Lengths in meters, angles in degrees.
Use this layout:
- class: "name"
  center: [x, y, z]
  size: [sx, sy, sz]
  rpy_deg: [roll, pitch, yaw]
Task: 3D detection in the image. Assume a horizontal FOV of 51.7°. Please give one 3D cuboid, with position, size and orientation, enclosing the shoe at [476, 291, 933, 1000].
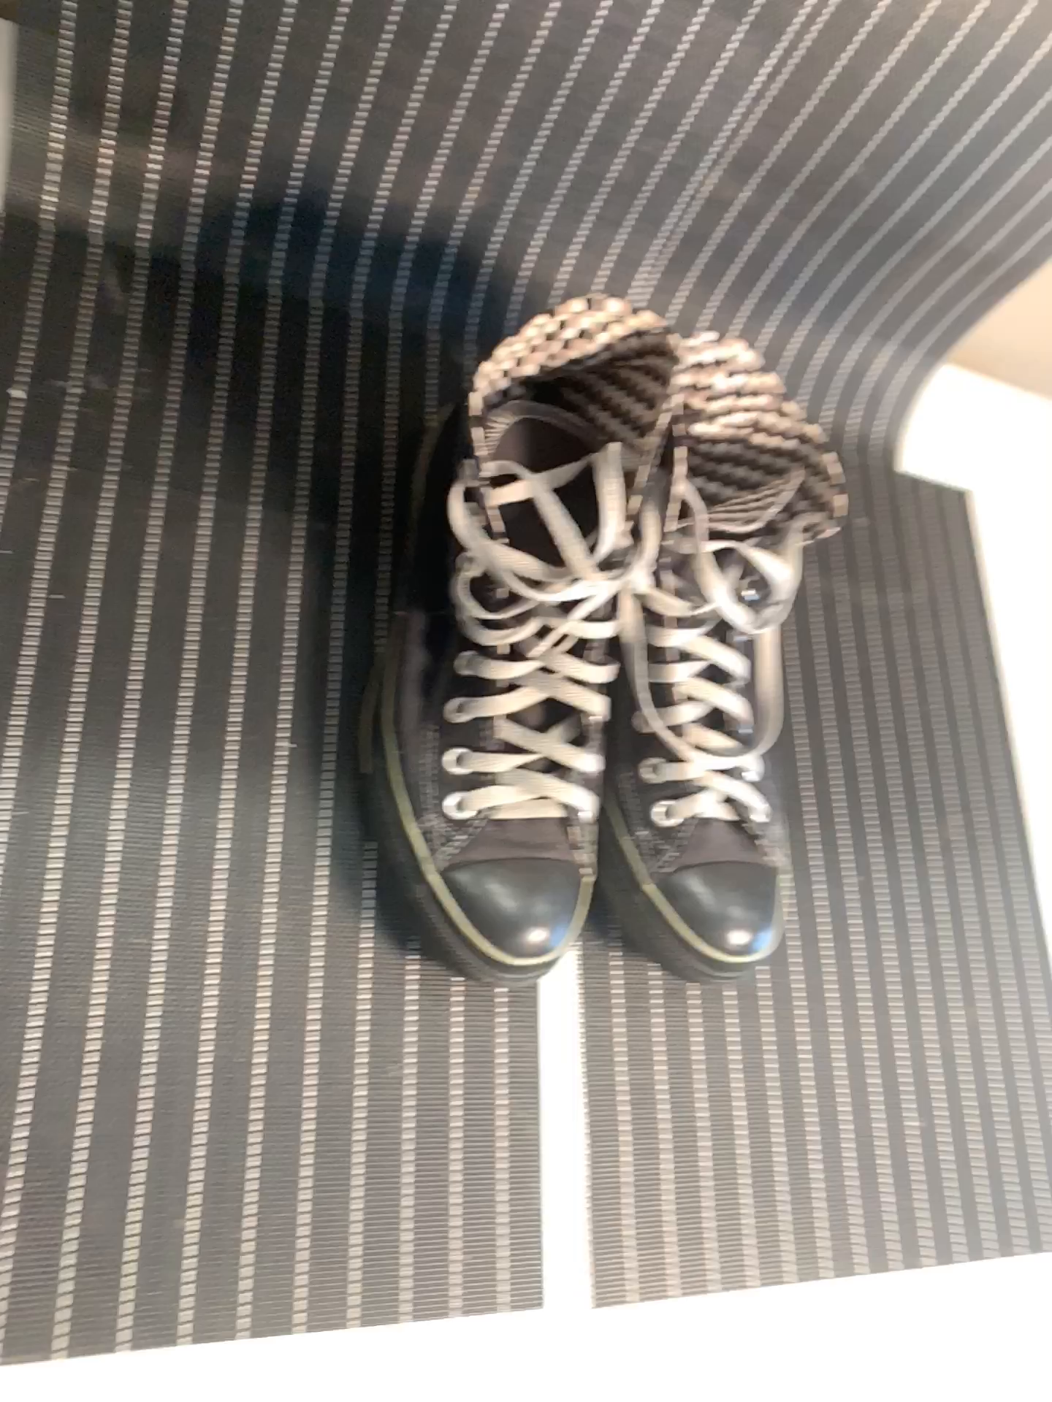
- class: "shoe"
  center: [0.069, -0.020, 0.510]
  size: [0.110, 0.130, 0.290]
  rpy_deg: [1, 72, -27]

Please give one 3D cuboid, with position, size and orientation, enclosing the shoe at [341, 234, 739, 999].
- class: "shoe"
  center: [-0.008, -0.027, 0.471]
  size: [0.110, 0.130, 0.290]
  rpy_deg: [6, 70, -25]
